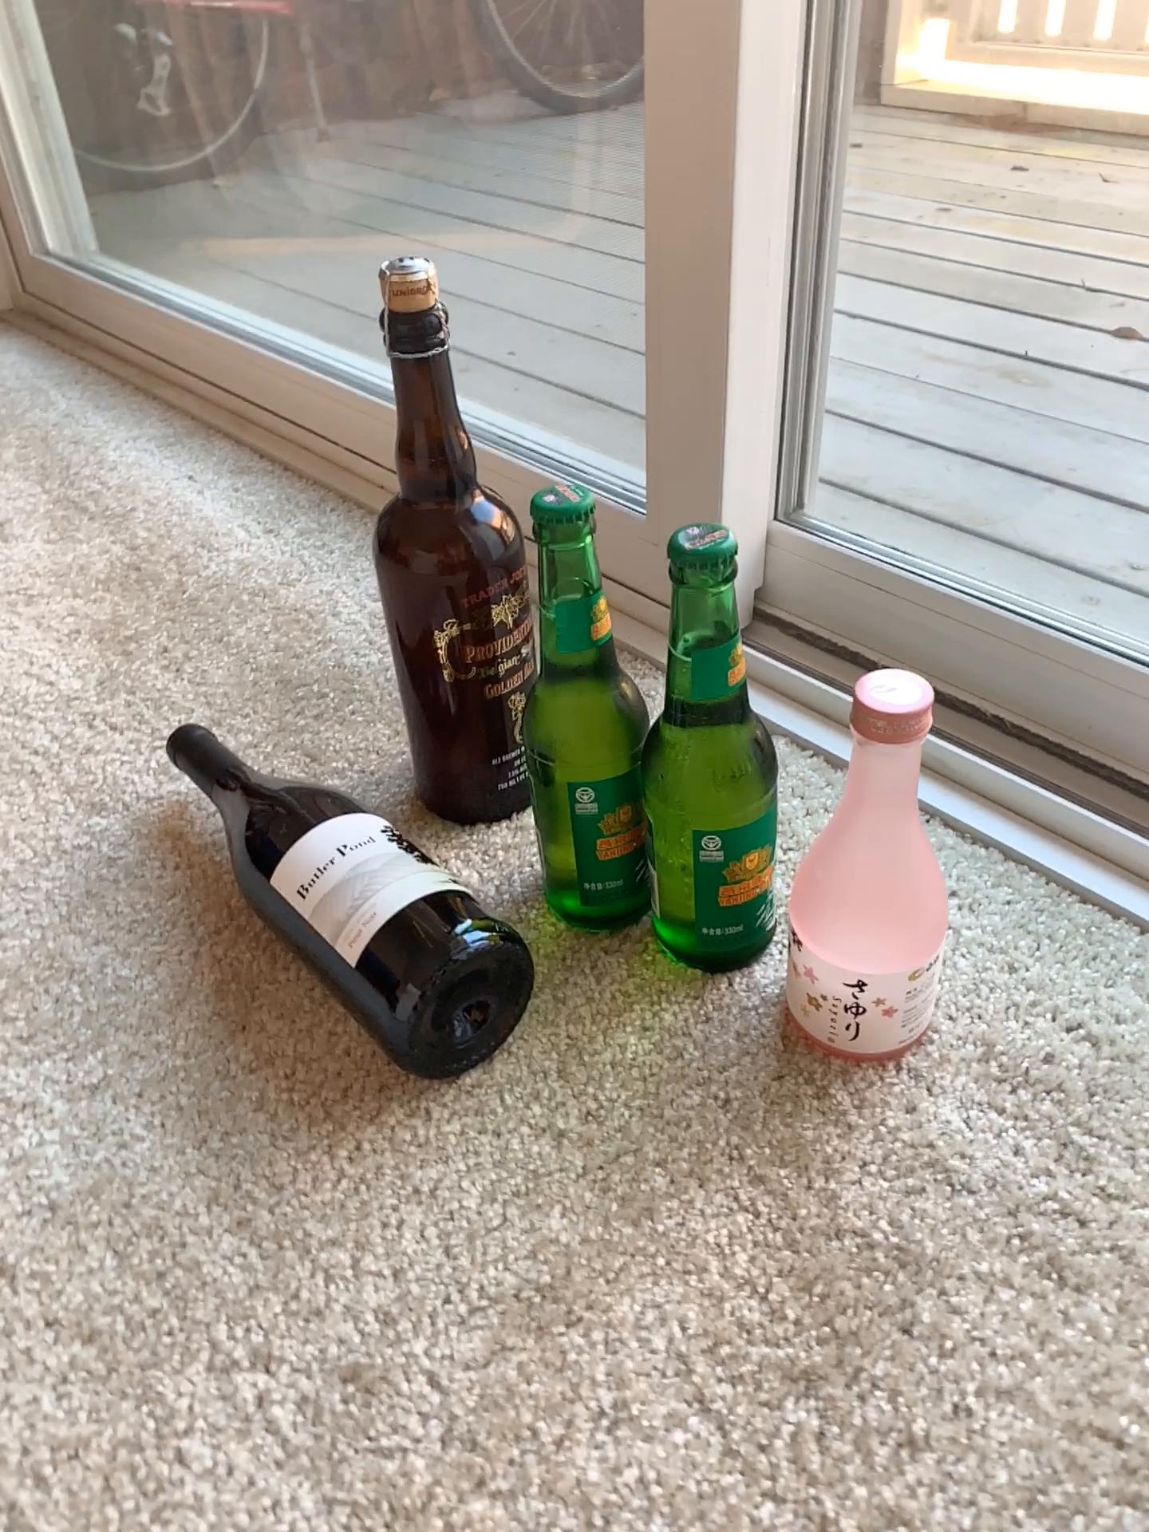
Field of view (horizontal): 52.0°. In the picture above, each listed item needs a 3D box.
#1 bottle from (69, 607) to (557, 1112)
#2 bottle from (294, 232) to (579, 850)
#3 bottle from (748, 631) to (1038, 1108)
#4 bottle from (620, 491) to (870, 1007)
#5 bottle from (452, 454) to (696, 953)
[{"bbox_3d":[-0.132,0.031,0.566,0.070,0.079,0.281,-32,53,-33],"label":"bottle"},{"bbox_3d":[-0.060,-0.103,0.599,0.080,0.288,0.080,-2,37,1],"label":"bottle"},{"bbox_3d":[0.127,0.046,0.495,0.070,0.179,0.070,-2,37,1],"label":"bottle"},{"bbox_3d":[0.072,-0.002,0.537,0.070,0.219,0.070,-2,37,1],"label":"bottle"},{"bbox_3d":[0.004,-0.024,0.540,0.070,0.209,0.070,-2,37,1],"label":"bottle"}]
